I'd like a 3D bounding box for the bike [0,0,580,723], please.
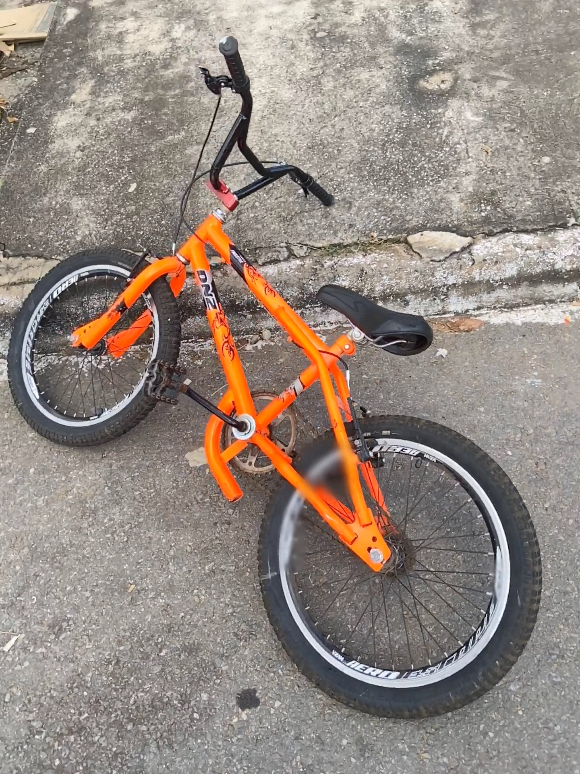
[{"bbox_3d":[0.070,-0.224,1.221,1.357,0.857,0.747,35,62,29],"label":"bike"}]
